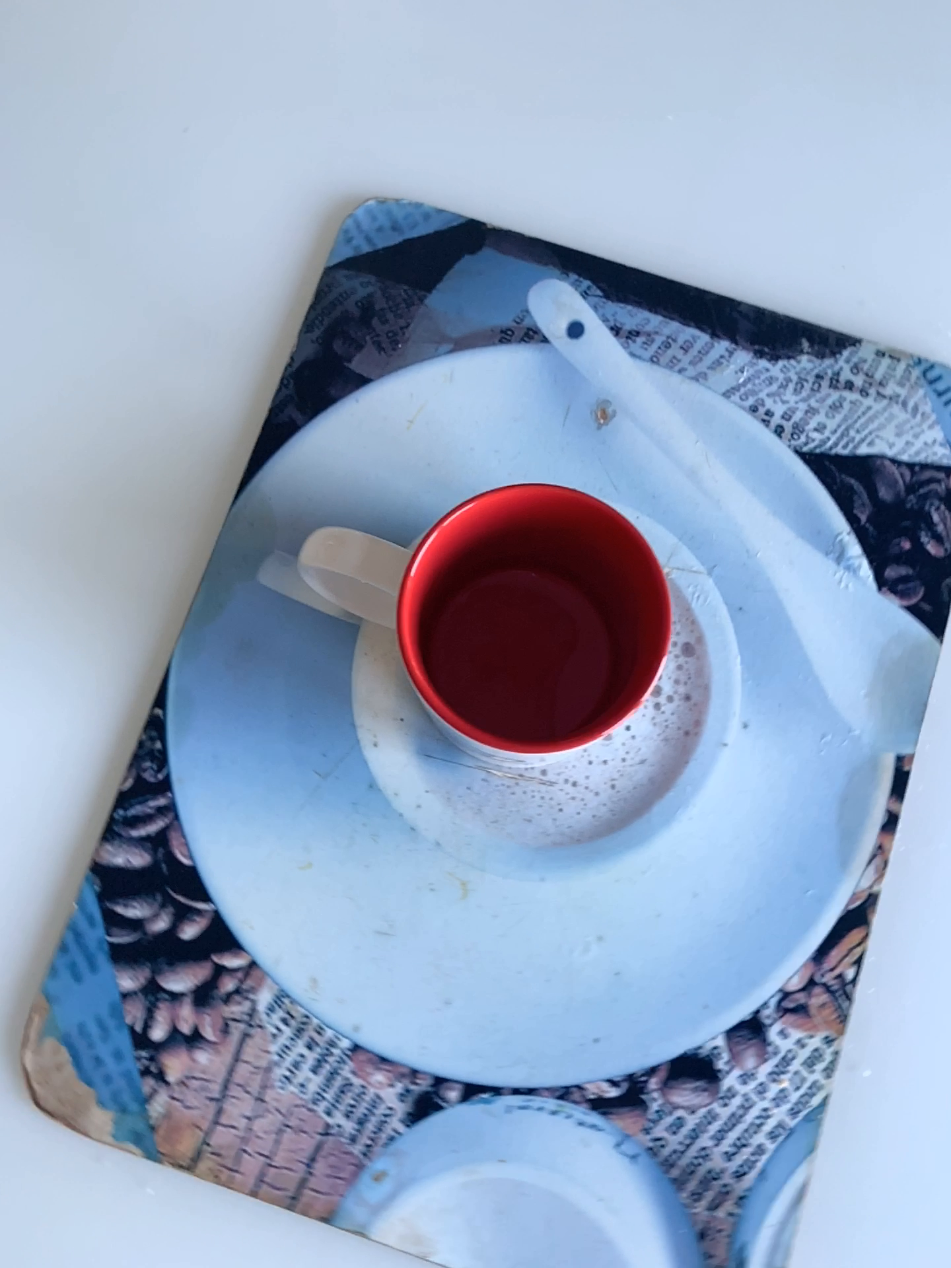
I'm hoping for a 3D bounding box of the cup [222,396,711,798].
[{"bbox_3d":[-0.002,-0.003,0.330,0.117,0.115,0.077,20,80,3],"label":"cup"}]
